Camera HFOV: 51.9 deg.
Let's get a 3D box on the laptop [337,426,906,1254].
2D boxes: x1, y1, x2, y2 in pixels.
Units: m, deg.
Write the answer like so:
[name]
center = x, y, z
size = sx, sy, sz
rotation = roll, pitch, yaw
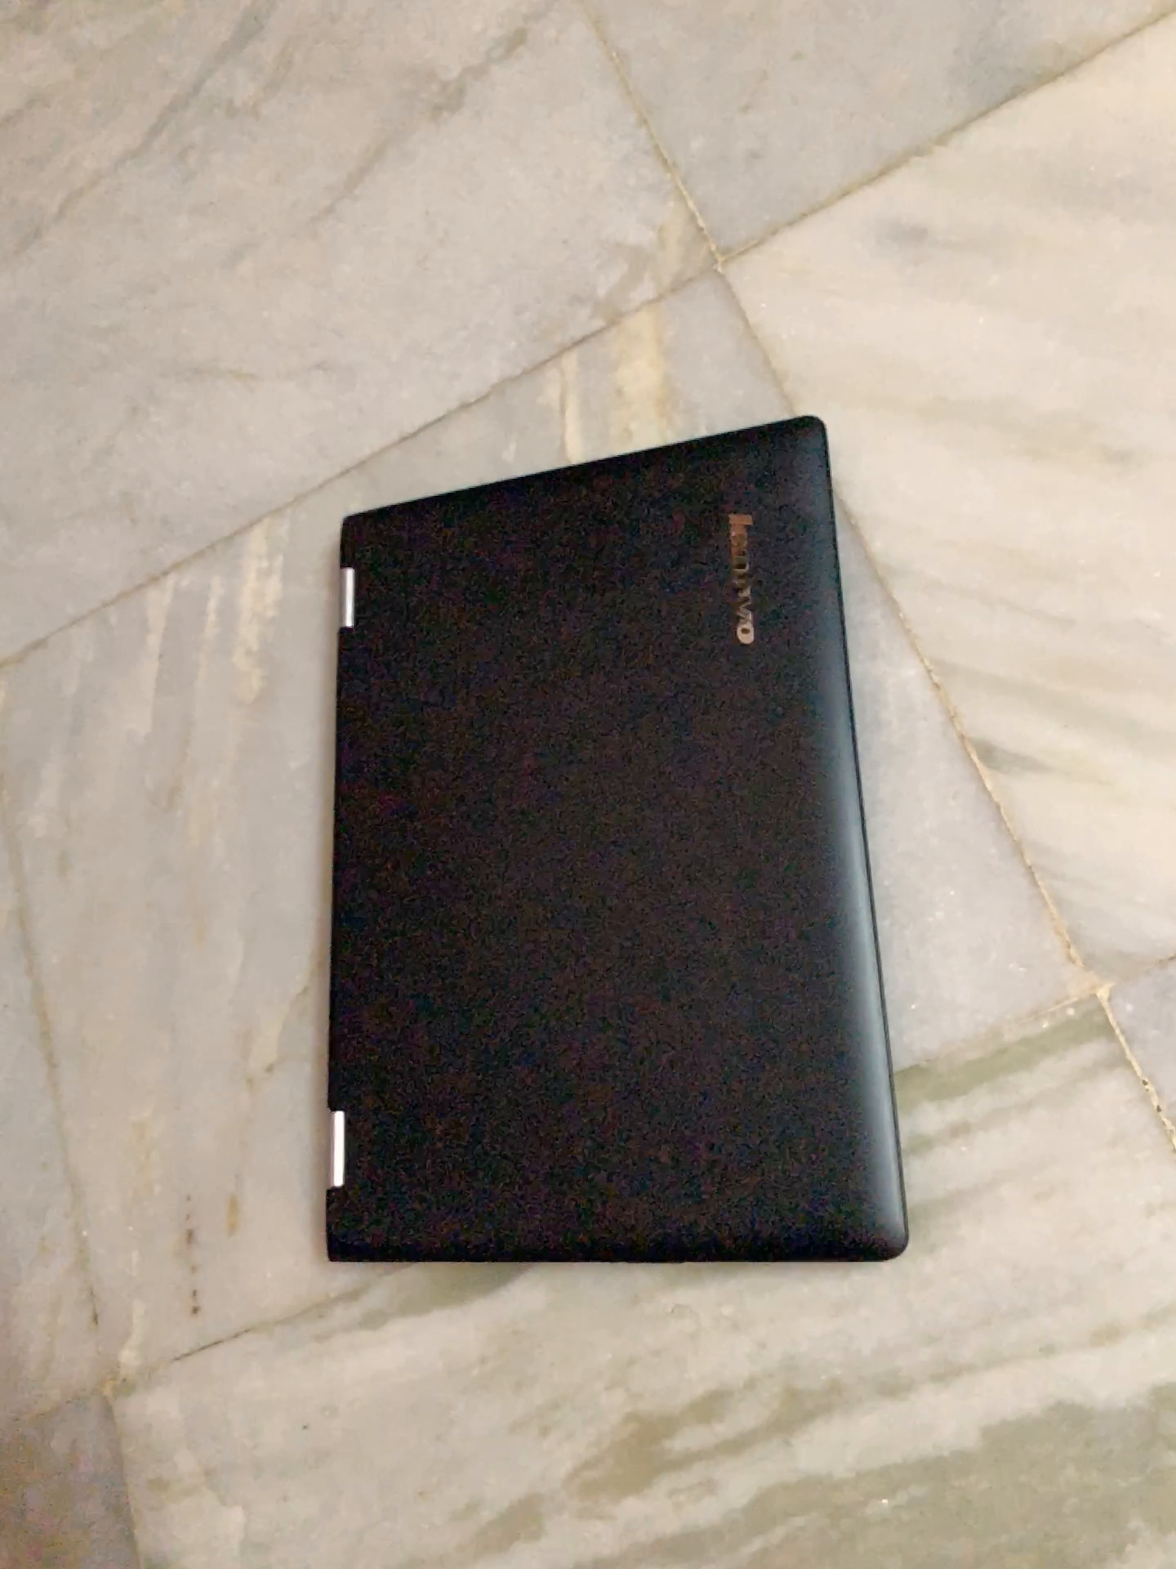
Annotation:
[laptop]
center = -0.001, 0.019, 0.498
size = 0.224, 0.001, 0.325
rotation = -7, 73, 17
